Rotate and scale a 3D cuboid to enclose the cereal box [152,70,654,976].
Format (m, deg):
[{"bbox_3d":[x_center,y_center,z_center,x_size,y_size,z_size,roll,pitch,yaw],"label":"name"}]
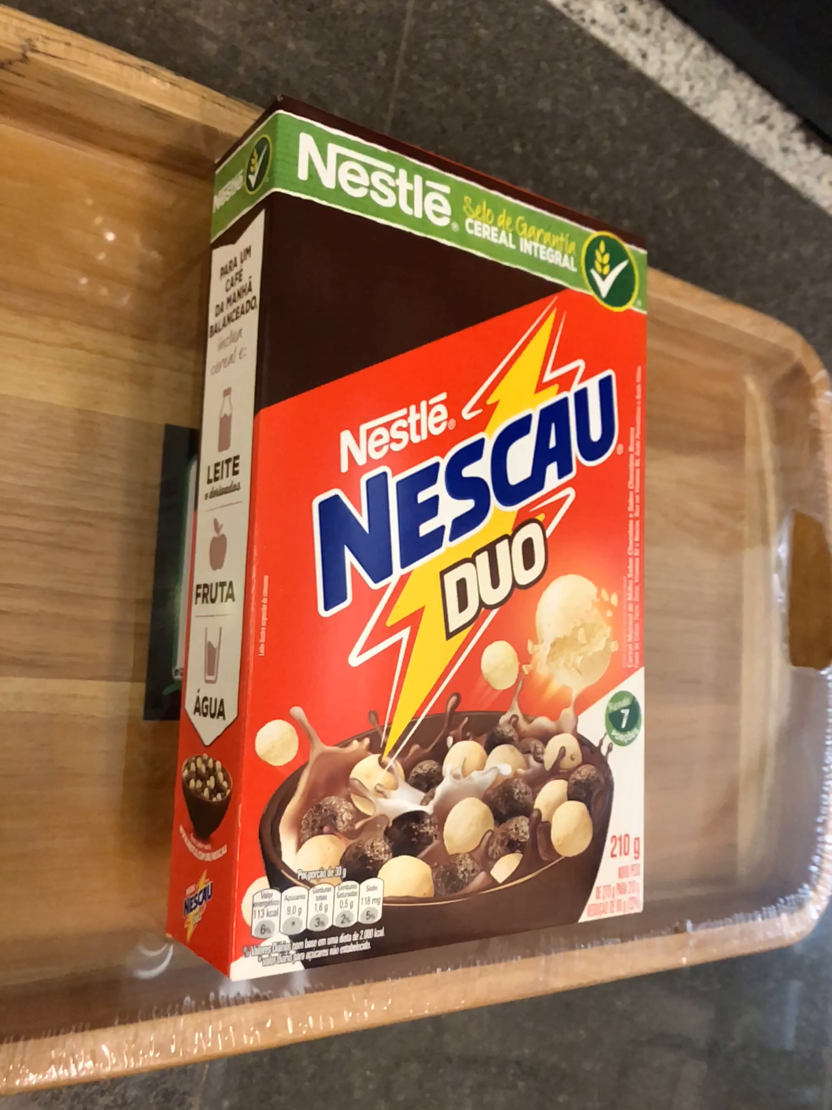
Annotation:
[{"bbox_3d":[0.006,-0.006,0.318,0.161,0.050,0.250,7,82,-33],"label":"cereal box"}]
